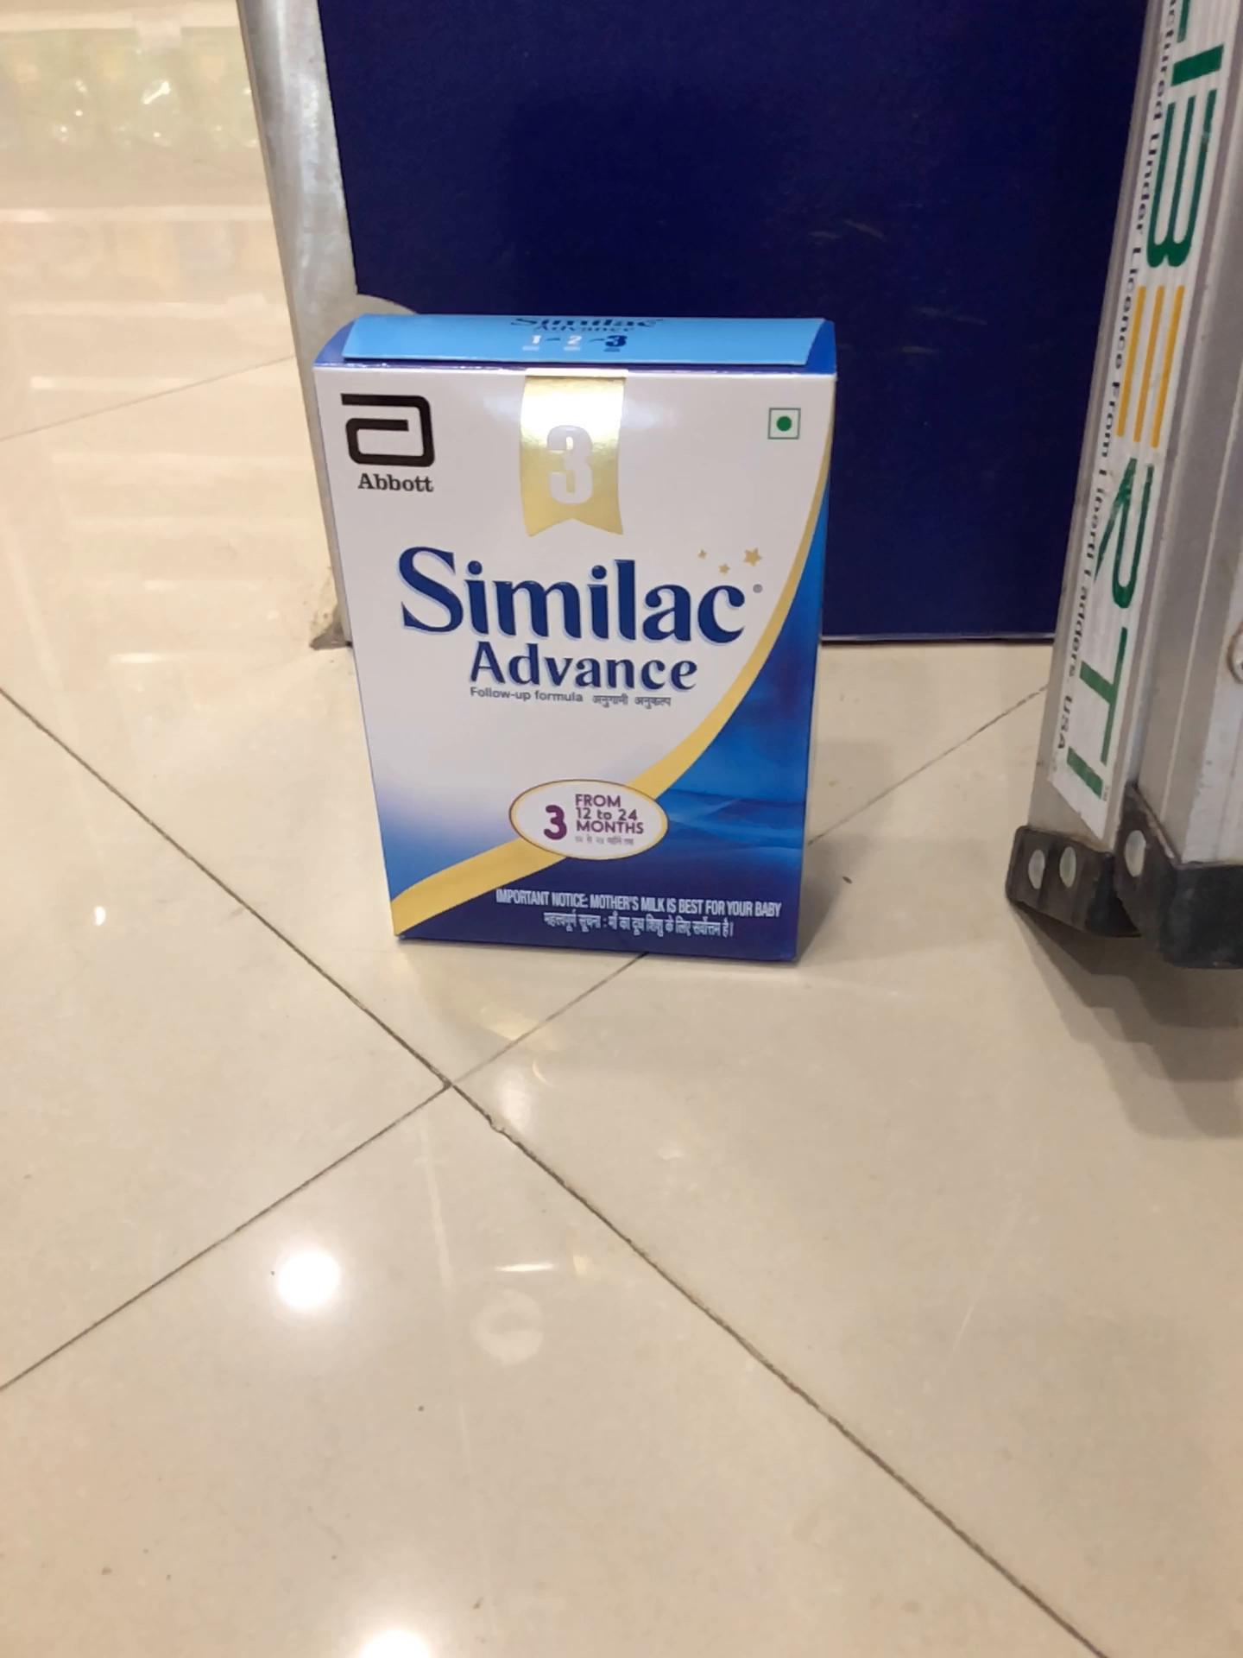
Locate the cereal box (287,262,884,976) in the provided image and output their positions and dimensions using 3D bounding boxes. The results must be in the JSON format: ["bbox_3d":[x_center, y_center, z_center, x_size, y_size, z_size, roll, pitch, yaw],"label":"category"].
[{"bbox_3d":[-0.005,-0.052,0.398,0.140,0.199,0.050,3,38,6],"label":"cereal box"}]
